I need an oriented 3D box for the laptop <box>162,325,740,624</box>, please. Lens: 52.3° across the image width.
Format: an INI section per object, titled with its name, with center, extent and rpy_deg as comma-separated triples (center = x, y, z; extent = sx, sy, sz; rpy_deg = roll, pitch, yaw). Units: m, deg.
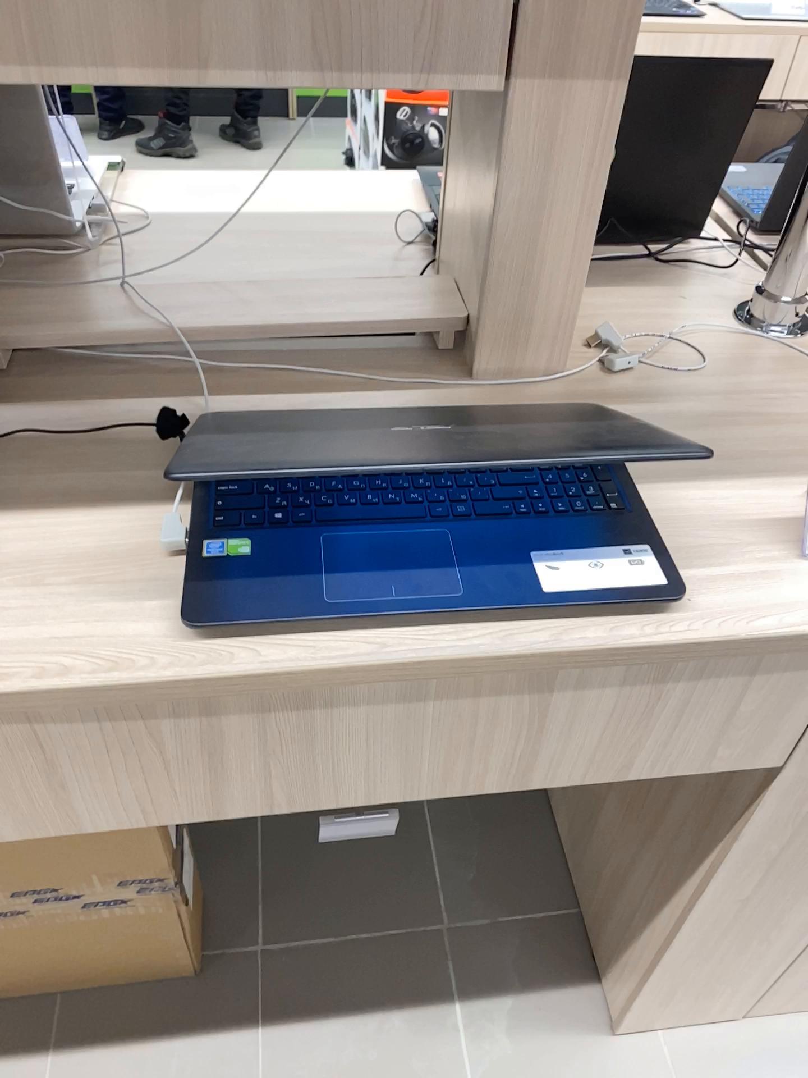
[laptop]
center = 0.023, -0.065, 0.658
extent = 0.385, 0.098, 0.236
rpy_deg = -2, 43, -7
